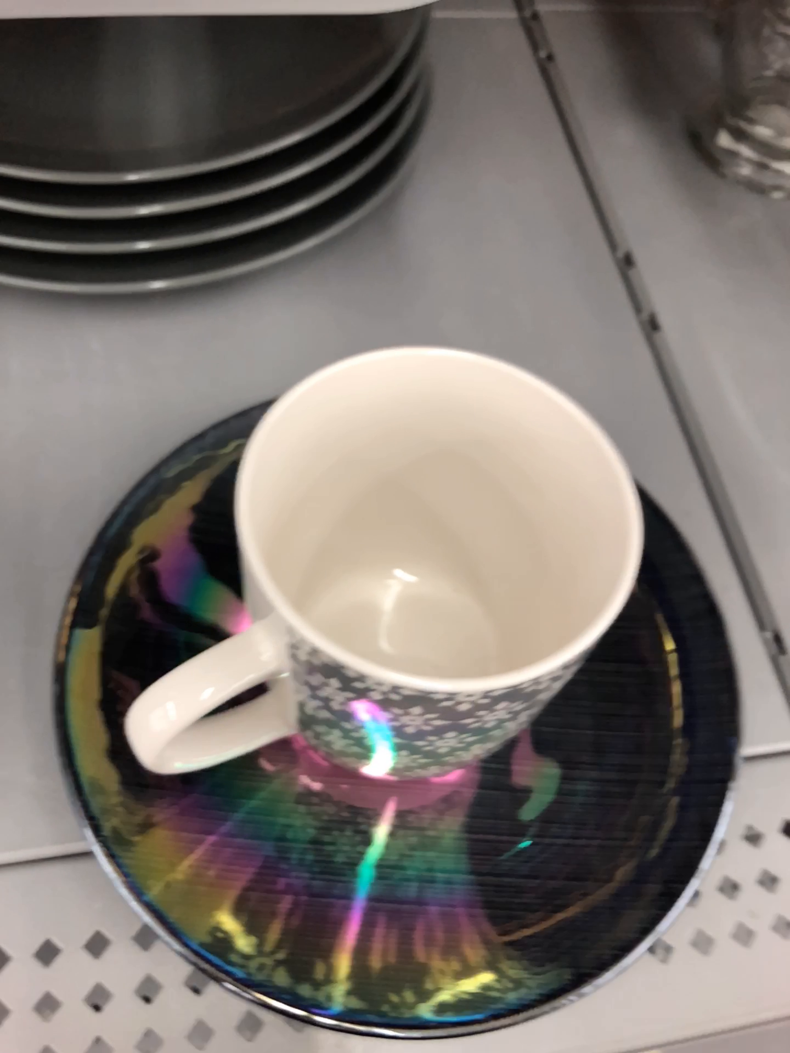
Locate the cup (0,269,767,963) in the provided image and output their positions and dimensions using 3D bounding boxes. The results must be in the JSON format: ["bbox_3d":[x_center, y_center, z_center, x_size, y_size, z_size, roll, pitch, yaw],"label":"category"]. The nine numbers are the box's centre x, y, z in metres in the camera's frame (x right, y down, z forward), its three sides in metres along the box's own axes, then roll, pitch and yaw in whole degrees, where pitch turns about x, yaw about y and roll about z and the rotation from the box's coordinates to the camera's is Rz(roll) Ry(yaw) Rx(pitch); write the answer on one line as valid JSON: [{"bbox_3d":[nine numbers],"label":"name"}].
[{"bbox_3d":[-0.007,0.023,0.221,0.129,0.096,0.093,-26,66,-20],"label":"cup"}]
